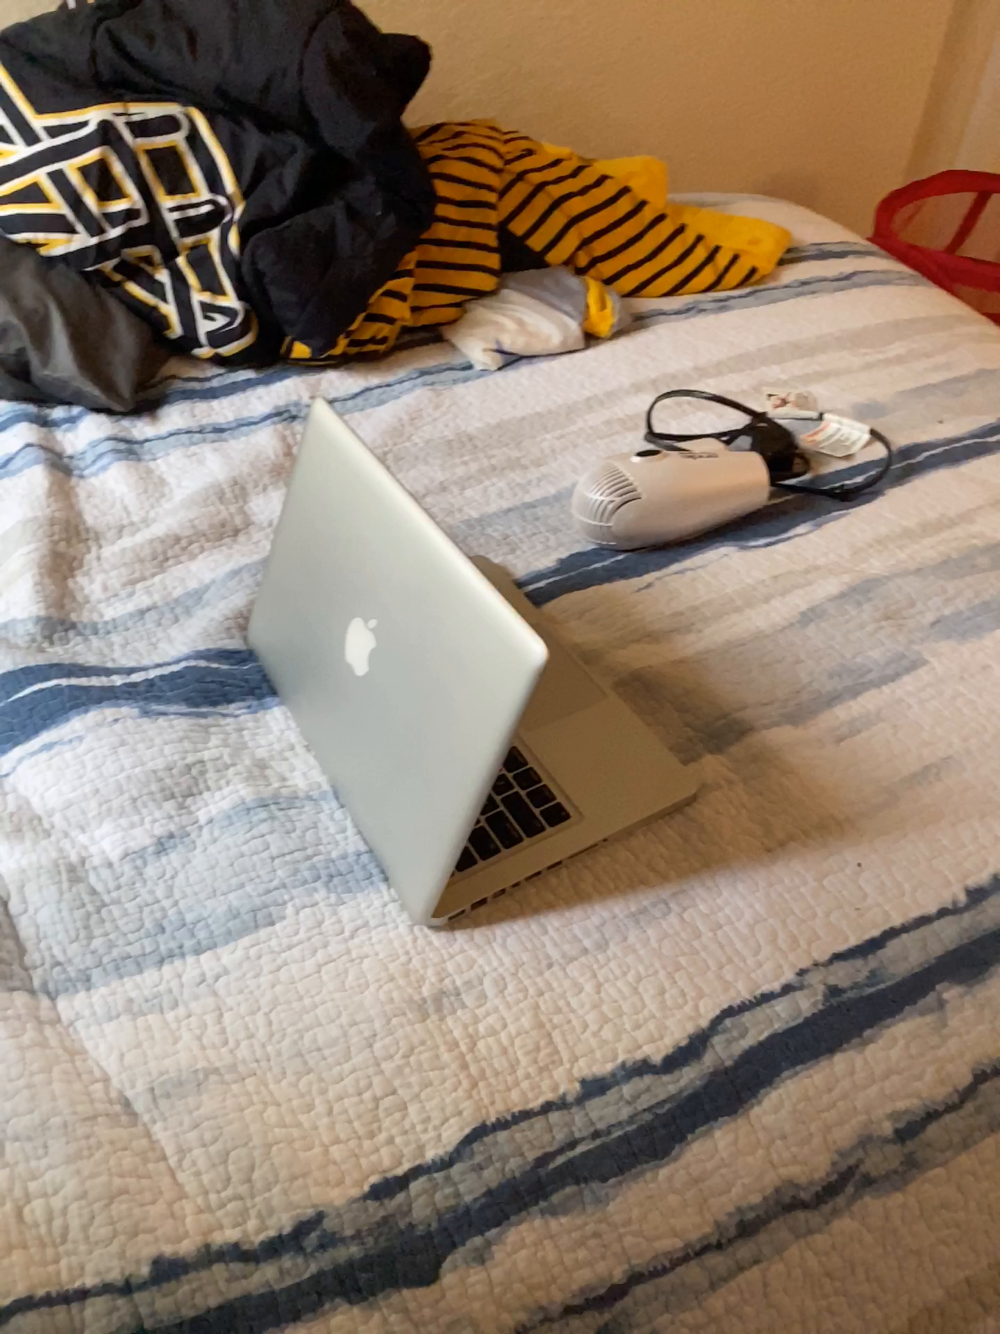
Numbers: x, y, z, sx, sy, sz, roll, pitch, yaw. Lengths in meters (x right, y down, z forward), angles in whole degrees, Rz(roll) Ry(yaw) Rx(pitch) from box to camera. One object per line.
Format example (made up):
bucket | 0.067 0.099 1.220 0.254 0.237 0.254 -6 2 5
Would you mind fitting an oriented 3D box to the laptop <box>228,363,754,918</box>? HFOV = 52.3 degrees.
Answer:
laptop | -0.023 -0.036 0.715 0.214 0.188 0.302 -21 48 -21
